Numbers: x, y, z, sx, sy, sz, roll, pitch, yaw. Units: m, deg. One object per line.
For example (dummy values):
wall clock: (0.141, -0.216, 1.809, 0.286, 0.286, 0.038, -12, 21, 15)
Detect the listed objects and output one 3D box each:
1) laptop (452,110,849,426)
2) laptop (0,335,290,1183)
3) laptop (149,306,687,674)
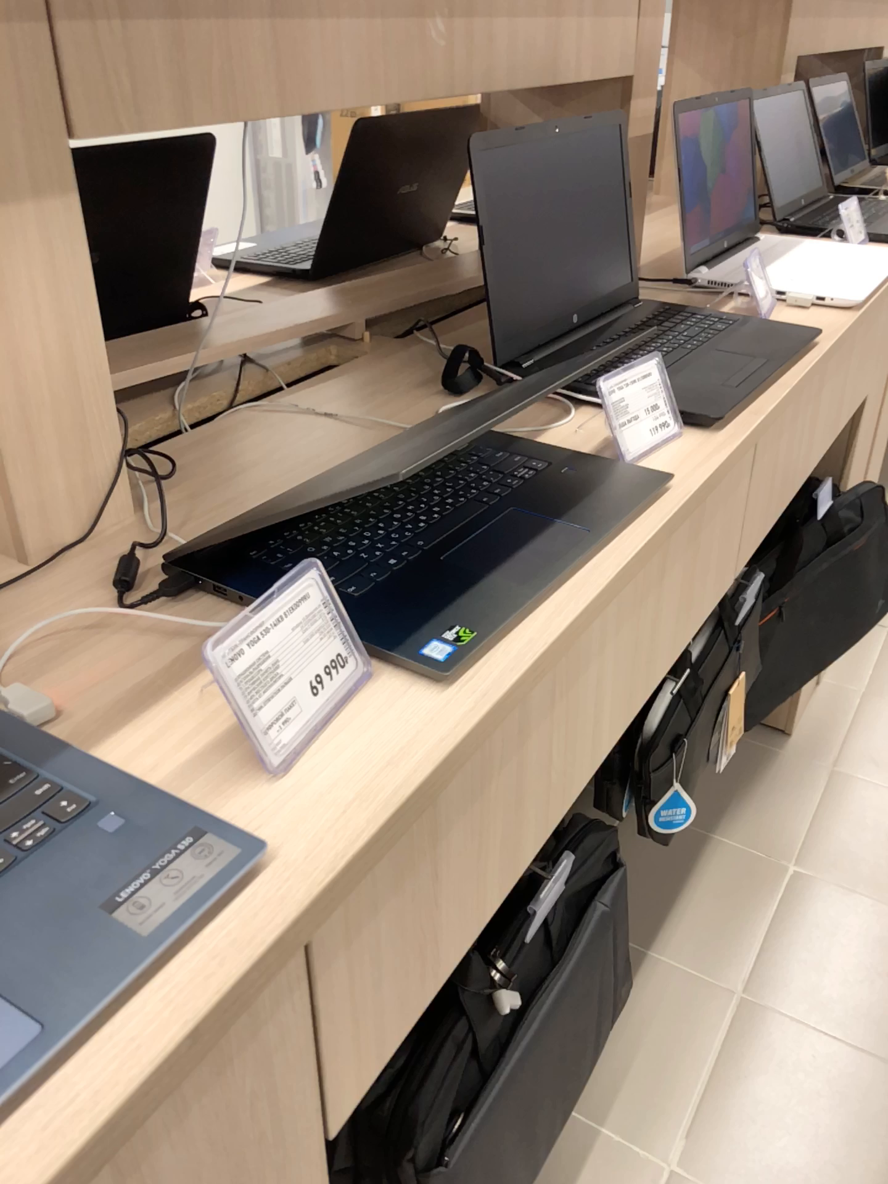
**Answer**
laptop: (0.249, -0.405, 1.146, 0.304, 0.240, 0.403, 19, 34, 25)
laptop: (-0.326, 0.060, 0.372, 0.343, 0.201, 0.355, 17, 32, 26)
laptop: (0.002, -0.111, 0.765, 0.243, 0.118, 0.363, 19, 34, 28)
